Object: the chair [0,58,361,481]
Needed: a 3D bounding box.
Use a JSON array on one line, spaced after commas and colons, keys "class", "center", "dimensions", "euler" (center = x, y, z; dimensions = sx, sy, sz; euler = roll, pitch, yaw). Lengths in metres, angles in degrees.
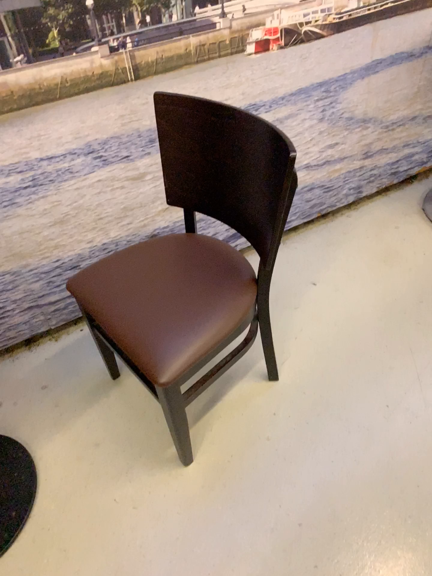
[{"class": "chair", "center": [-0.088, -0.052, 1.098], "dimensions": [0.518, 0.729, 0.562], "euler": [-33, 51, -24]}]
